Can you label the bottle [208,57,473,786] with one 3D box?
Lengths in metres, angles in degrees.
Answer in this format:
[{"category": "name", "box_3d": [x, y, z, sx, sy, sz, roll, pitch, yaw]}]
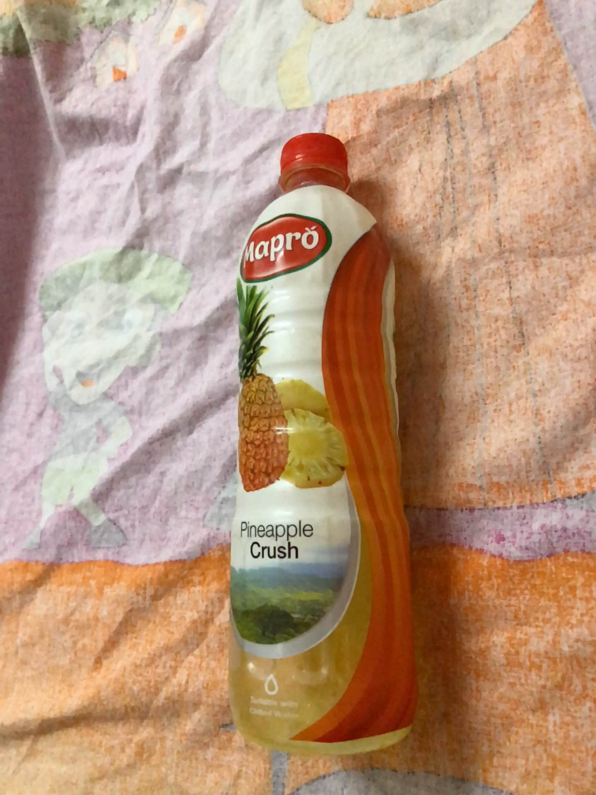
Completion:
[{"category": "bottle", "box_3d": [0.014, 0.005, 0.271, 0.080, 0.060, 0.250, -7, 79, 30]}]
